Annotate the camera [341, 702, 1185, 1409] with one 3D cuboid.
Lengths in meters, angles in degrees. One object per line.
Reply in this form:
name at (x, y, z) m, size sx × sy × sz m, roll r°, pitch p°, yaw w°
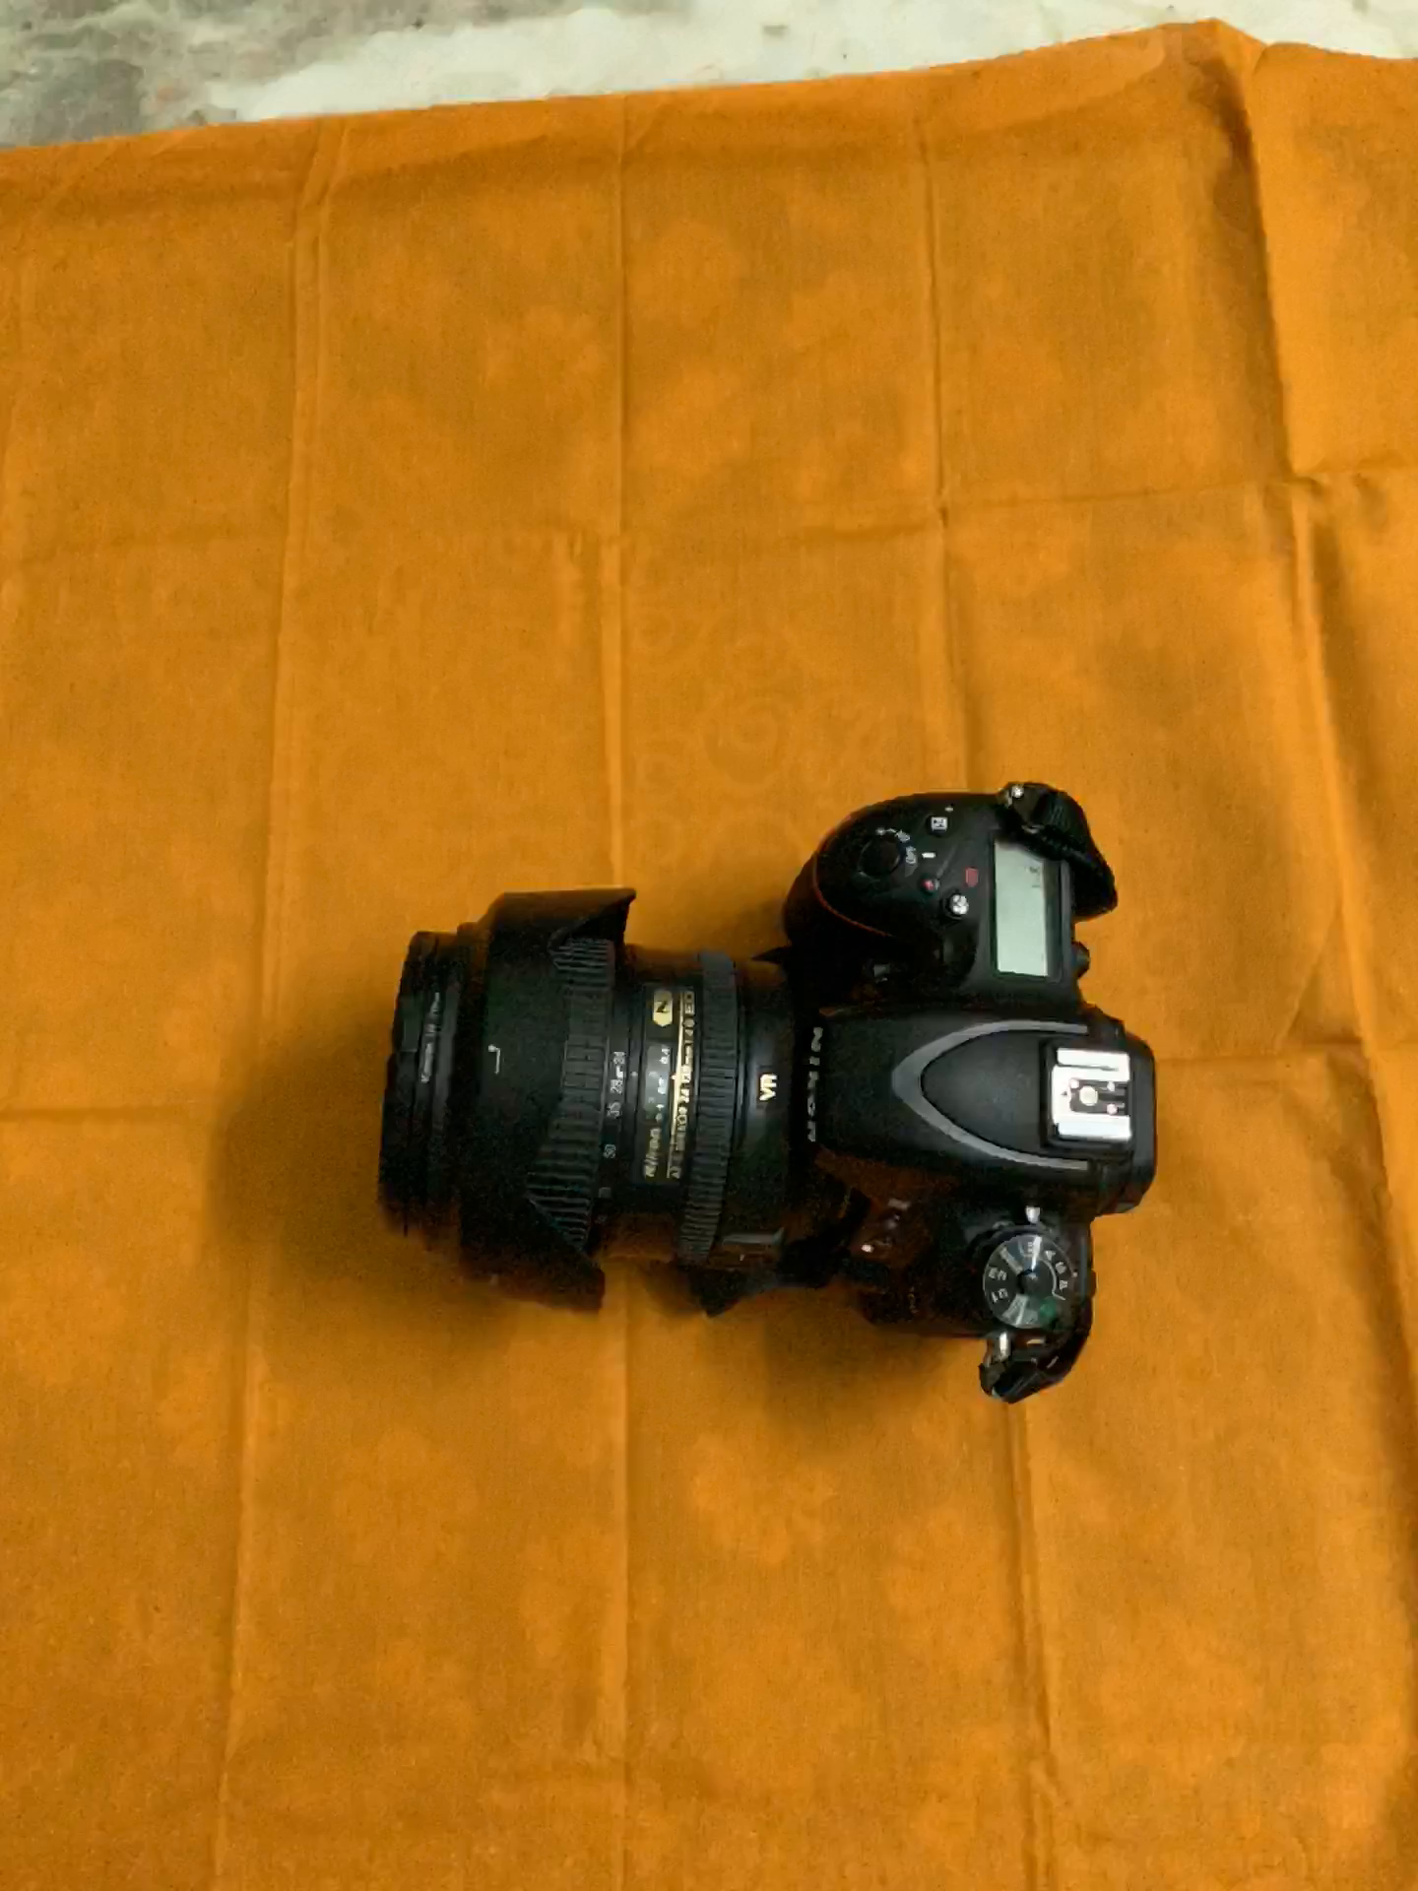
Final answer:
camera at (0.015, 0.032, 0.366) m, size 0.170 × 0.110 × 0.151 m, roll 1°, pitch 75°, yaw 4°
